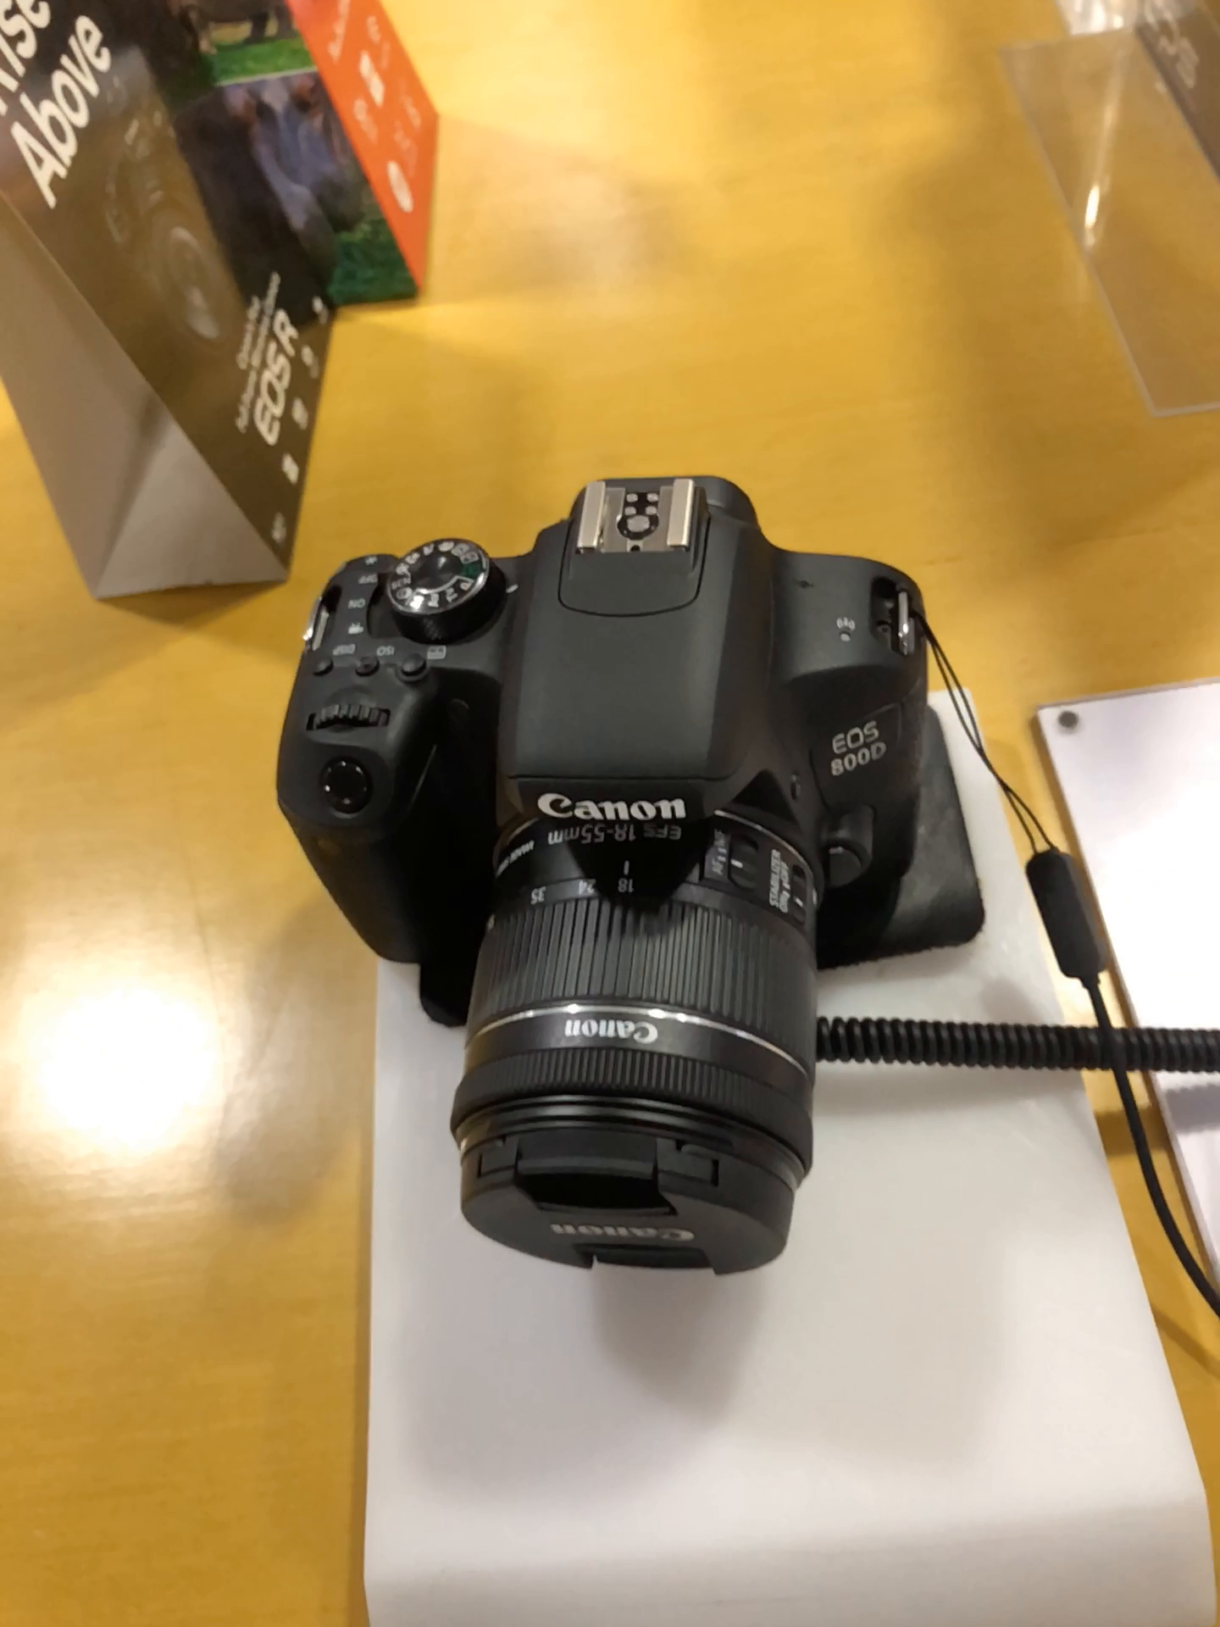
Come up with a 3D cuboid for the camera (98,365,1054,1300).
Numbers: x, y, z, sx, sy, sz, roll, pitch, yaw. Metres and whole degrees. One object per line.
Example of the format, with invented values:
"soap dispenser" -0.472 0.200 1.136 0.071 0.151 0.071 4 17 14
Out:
"camera" 0.004 0.004 0.240 0.120 0.090 0.131 0 57 10
